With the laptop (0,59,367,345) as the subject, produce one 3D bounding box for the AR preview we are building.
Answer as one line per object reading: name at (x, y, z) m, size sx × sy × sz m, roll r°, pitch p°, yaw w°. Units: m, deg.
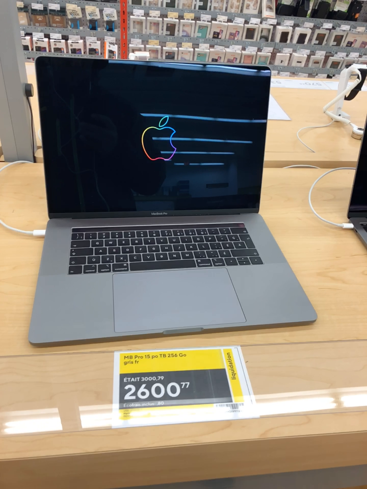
laptop at (-0.014, -0.077, 0.516) m, size 0.329 × 0.212 × 0.299 m, roll -3°, pitch 39°, yaw -12°
